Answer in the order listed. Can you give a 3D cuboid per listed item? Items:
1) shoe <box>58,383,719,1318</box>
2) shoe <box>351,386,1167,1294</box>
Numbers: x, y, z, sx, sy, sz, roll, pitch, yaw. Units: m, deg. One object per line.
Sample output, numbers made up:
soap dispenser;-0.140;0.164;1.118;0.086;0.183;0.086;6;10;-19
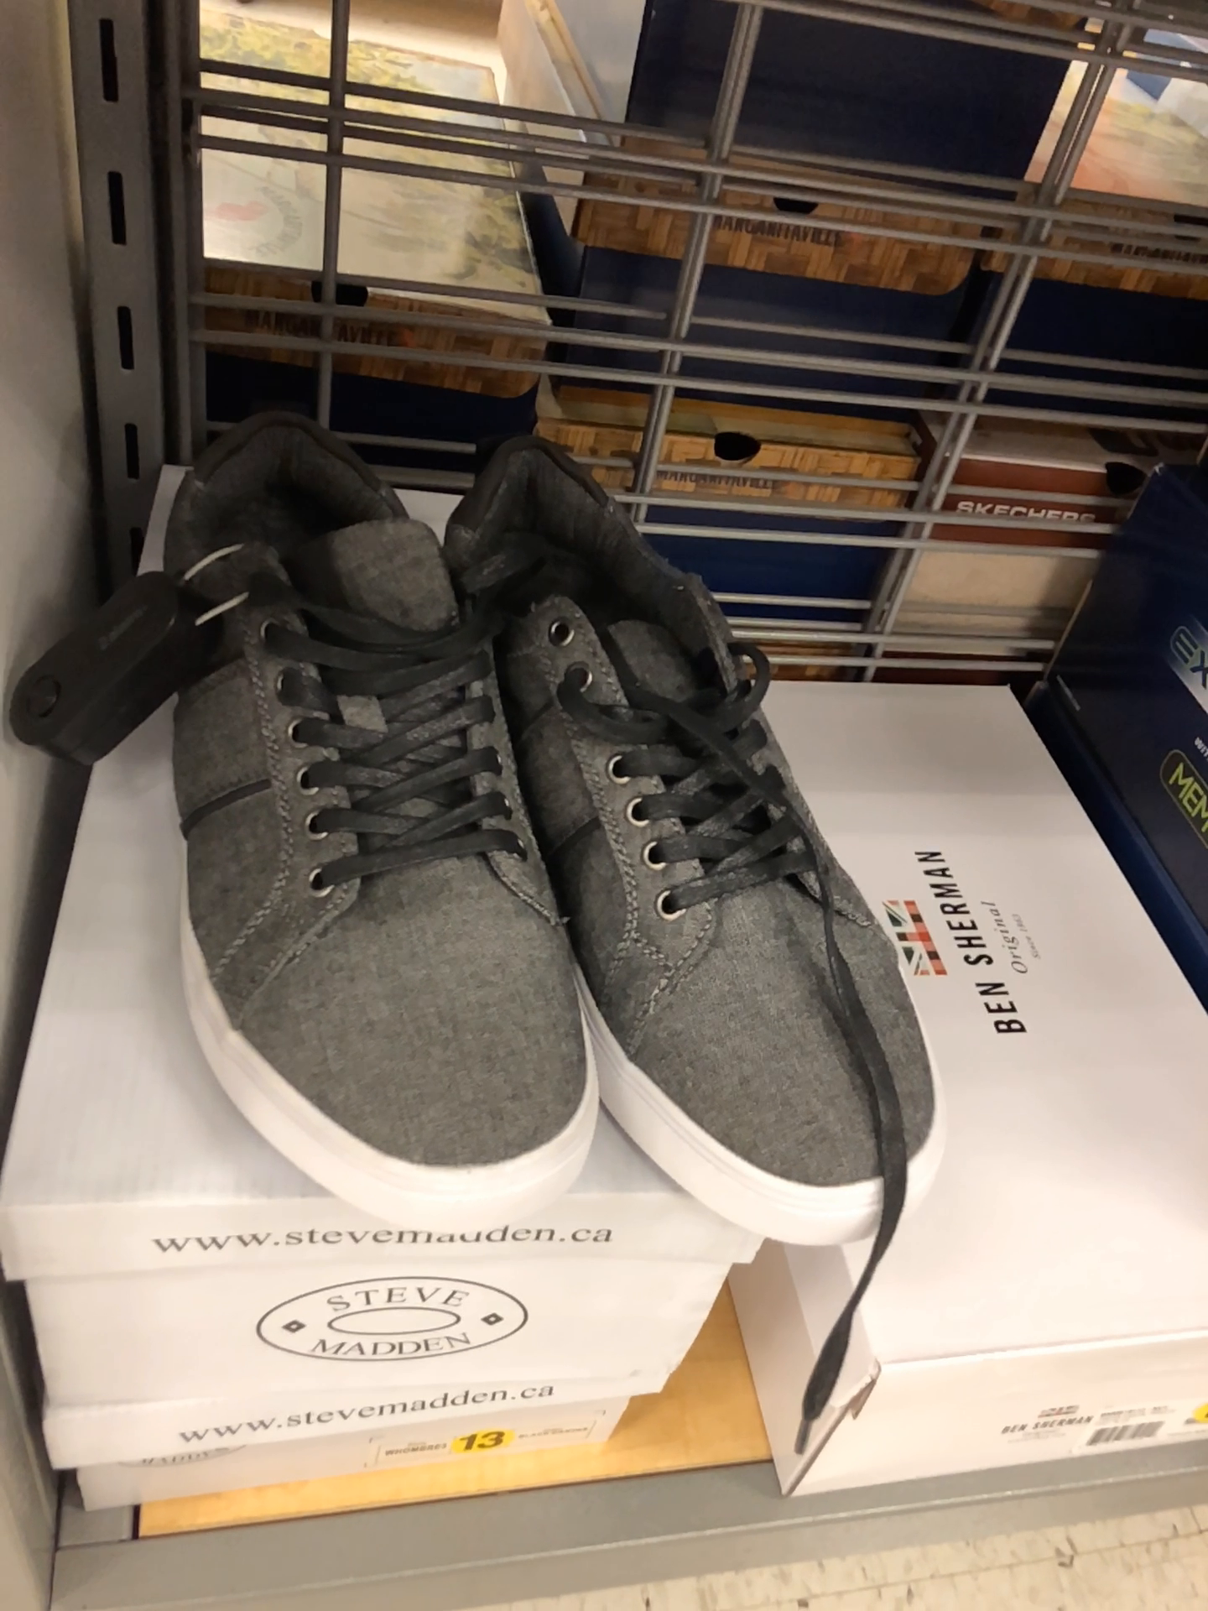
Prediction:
shoe;-0.081;-0.011;0.385;0.107;0.099;0.262;-8;47;-23
shoe;0.019;-0.014;0.407;0.107;0.099;0.272;-11;48;-26
